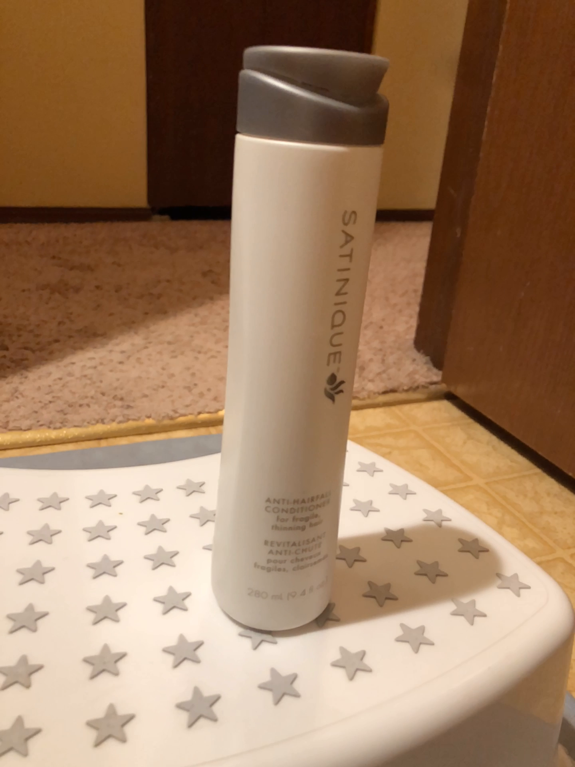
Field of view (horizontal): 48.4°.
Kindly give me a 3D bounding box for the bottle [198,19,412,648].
[{"bbox_3d":[-0.003,-0.006,0.230,0.050,0.209,0.050,3,24,-1],"label":"bottle"}]
